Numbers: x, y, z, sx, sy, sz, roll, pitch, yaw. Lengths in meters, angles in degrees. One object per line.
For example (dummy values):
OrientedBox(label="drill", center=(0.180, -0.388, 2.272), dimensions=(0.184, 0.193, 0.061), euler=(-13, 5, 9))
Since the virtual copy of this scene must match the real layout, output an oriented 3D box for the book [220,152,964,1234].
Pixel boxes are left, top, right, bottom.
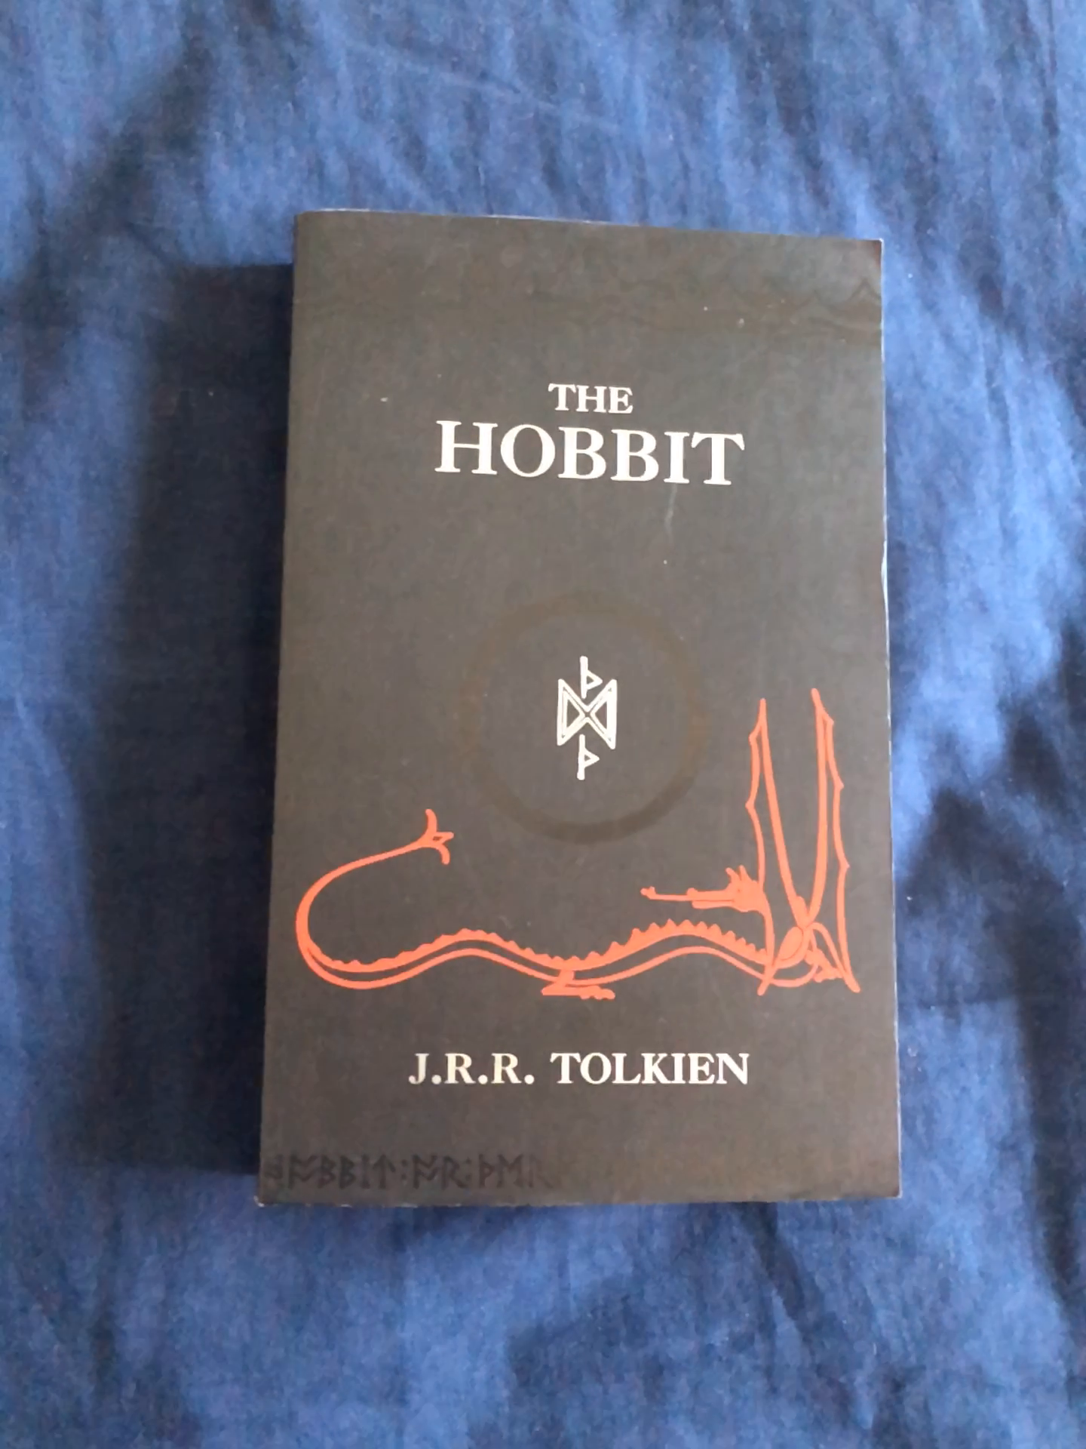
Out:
OrientedBox(label="book", center=(0.009, -0.007, 0.224), dimensions=(0.120, 0.040, 0.180), euler=(1, 82, -6))
